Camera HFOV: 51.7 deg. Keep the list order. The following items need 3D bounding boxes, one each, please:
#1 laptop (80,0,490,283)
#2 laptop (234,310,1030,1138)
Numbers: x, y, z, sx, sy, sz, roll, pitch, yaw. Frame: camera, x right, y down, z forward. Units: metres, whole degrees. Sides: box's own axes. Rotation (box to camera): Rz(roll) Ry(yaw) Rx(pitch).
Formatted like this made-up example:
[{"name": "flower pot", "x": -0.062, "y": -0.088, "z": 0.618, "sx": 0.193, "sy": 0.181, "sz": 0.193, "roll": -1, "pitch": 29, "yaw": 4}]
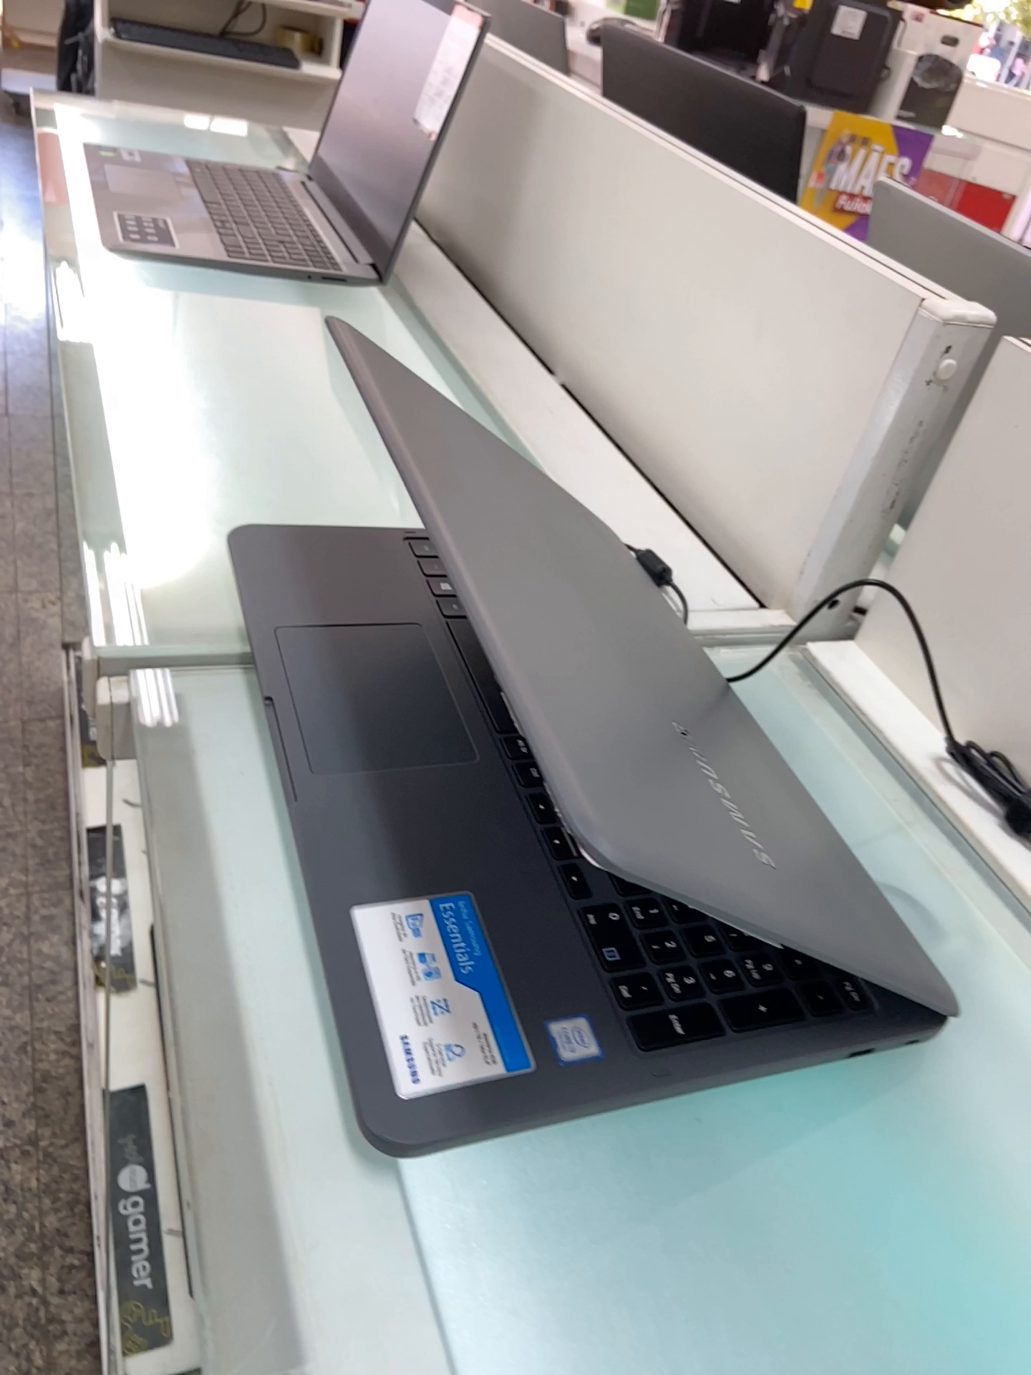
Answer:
[{"name": "laptop", "x": -0.250, "y": -0.592, "z": 1.055, "sx": 0.313, "sy": 0.225, "sz": 0.311, "roll": -2, "pitch": 40, "yaw": -20}, {"name": "laptop", "x": 0.023, "y": -0.027, "z": 0.484, "sx": 0.237, "sy": 0.126, "sz": 0.368, "roll": -3, "pitch": 41, "yaw": -23}]
